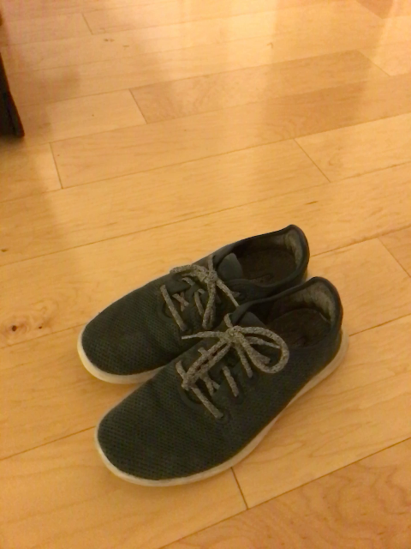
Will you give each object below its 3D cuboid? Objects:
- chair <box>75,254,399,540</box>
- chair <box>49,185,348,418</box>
[{"bbox_3d":[0.039,0.109,0.454,0.301,0.099,0.110,-28,57,-23],"label":"chair"},{"bbox_3d":[0.001,0.020,0.515,0.321,0.099,0.100,-28,65,-23],"label":"chair"}]
